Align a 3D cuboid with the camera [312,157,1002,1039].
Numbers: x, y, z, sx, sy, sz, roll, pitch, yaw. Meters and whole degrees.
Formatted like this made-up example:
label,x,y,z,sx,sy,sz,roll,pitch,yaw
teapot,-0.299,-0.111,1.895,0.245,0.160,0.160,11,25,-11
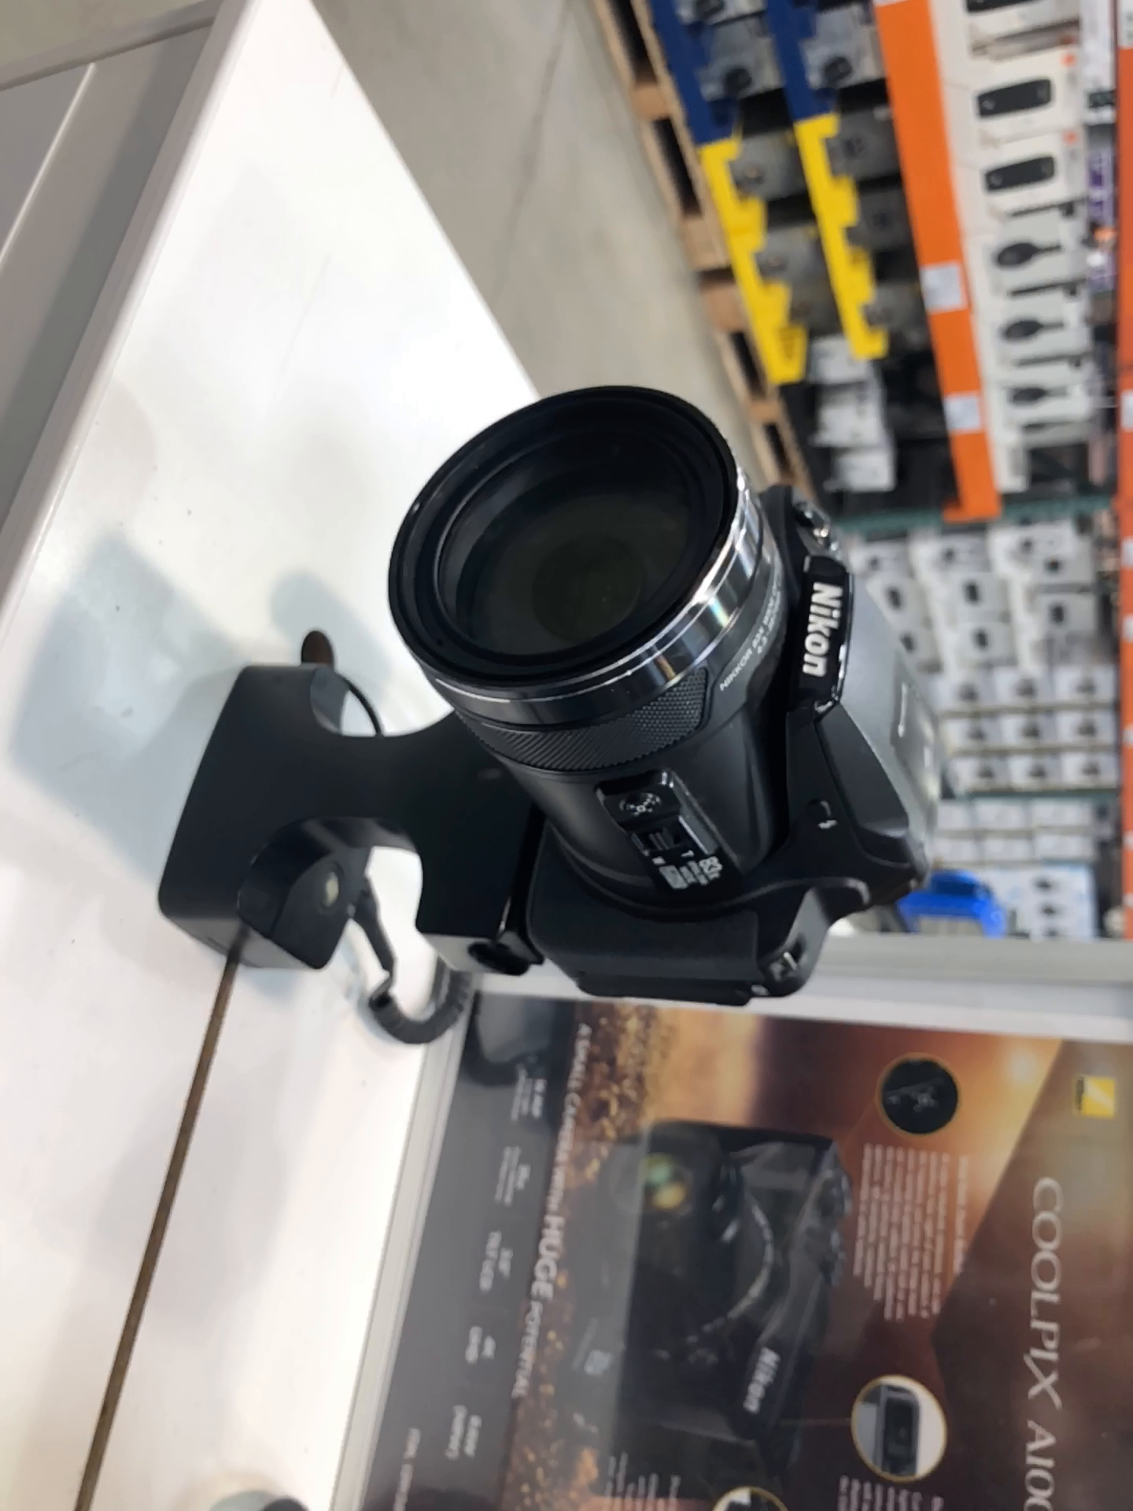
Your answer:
label,x,y,z,sx,sy,sz,roll,pitch,yaw
camera,0.042,-0.026,0.312,0.151,0.109,0.140,54,41,-53
